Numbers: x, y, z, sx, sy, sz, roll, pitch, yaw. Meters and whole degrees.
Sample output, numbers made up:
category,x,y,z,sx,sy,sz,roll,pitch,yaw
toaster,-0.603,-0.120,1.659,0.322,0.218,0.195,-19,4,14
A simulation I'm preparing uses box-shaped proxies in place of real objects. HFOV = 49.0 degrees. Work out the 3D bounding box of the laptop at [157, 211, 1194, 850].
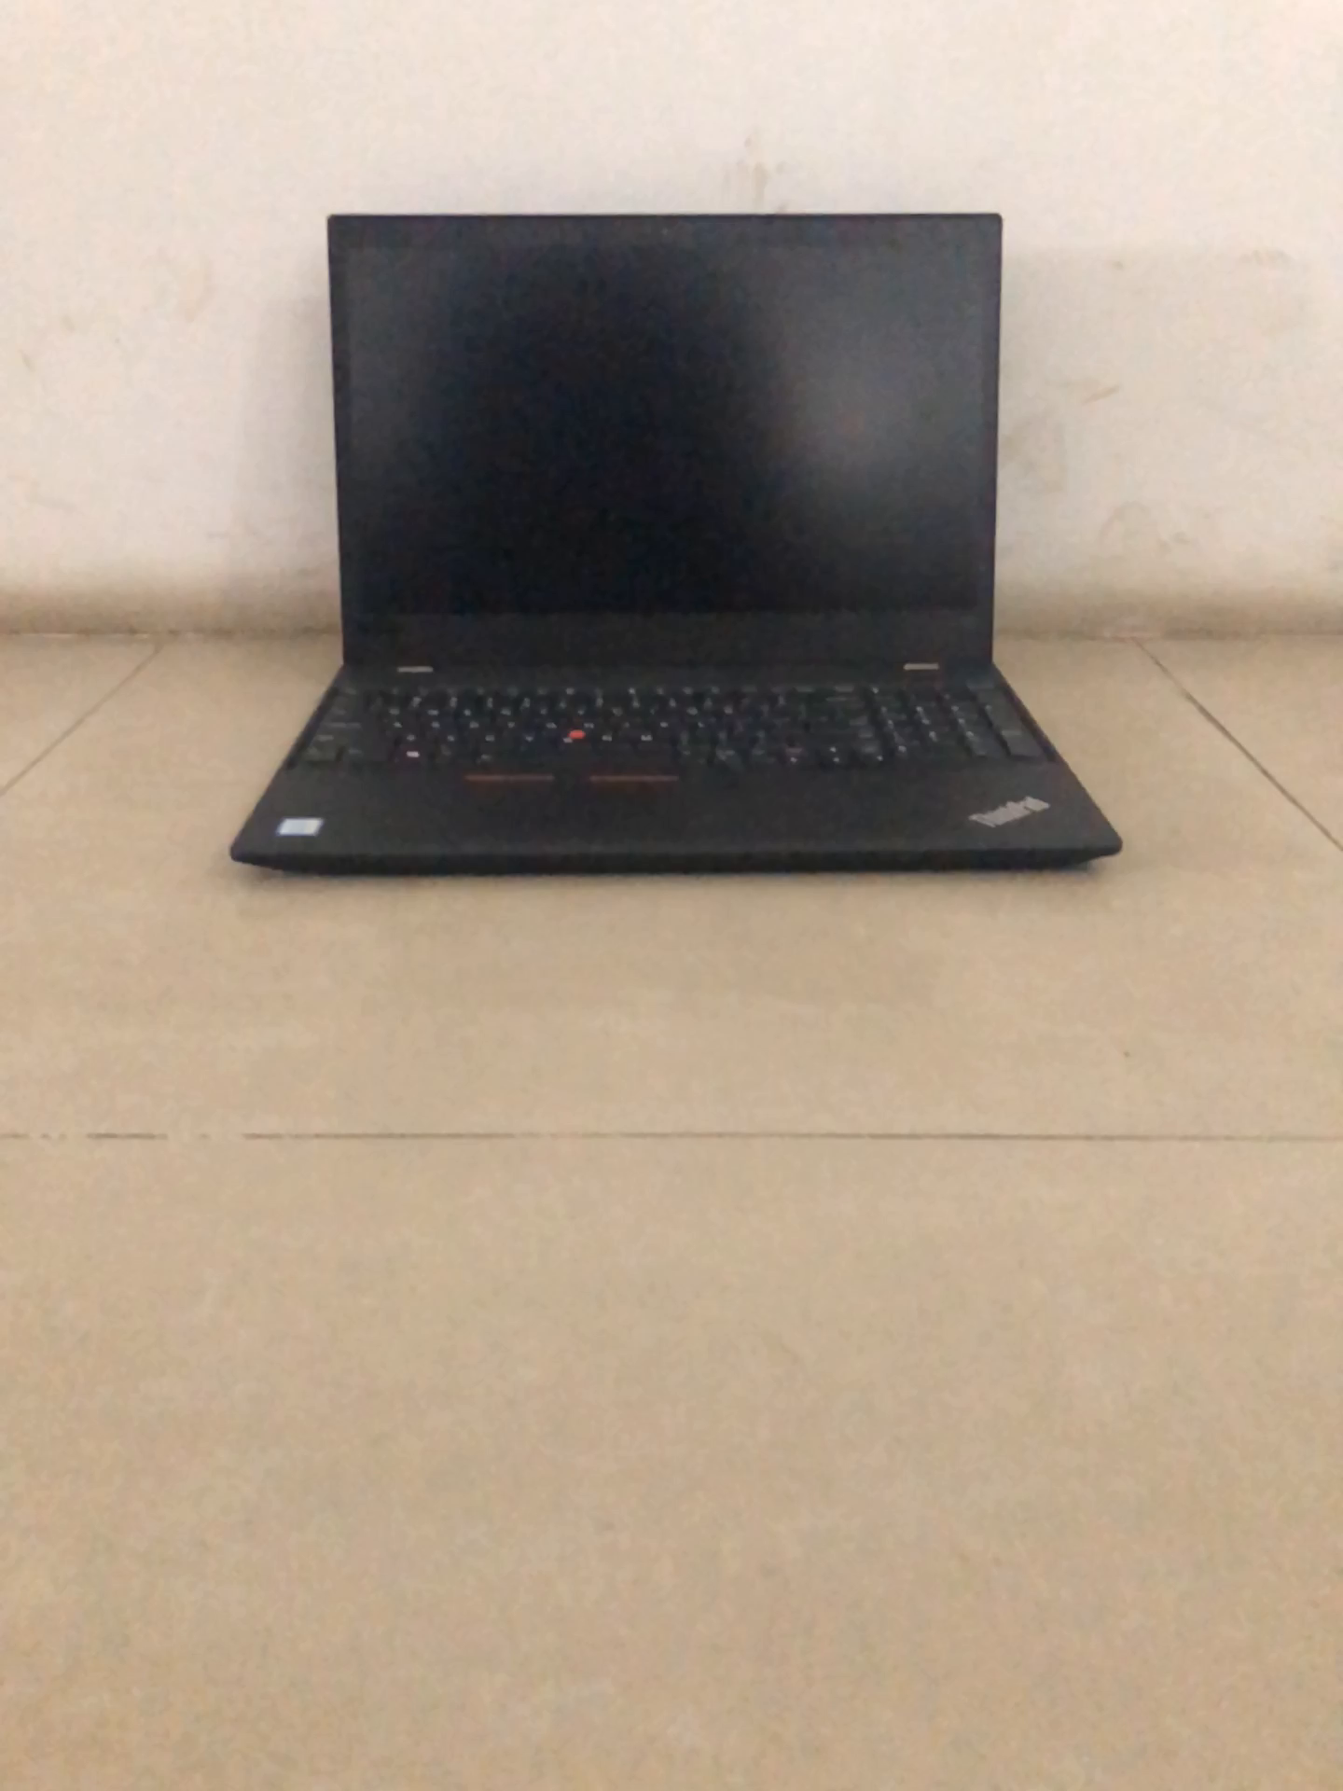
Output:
category,x,y,z,sx,sy,sz,roll,pitch,yaw
laptop,-0.001,-0.193,0.689,0.351,0.215,0.329,0,27,-1
